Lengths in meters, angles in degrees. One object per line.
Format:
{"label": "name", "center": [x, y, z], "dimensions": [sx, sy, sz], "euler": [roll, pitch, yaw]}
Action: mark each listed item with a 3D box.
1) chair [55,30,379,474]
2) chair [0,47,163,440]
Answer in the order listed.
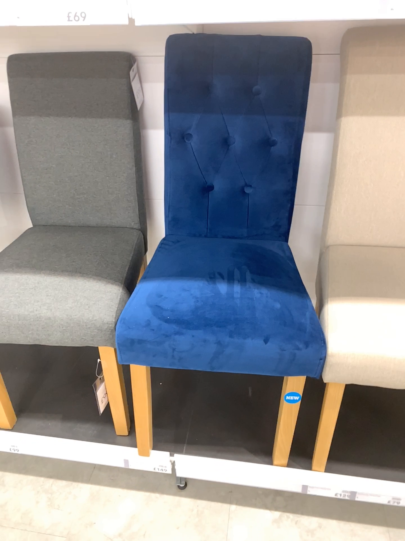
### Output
{"label": "chair", "center": [0.040, -0.036, 1.021], "dimensions": [0.433, 0.929, 0.524], "euler": [4, 34, 6]}
{"label": "chair", "center": [-0.384, -0.091, 1.151], "dimensions": [0.413, 0.890, 0.625], "euler": [2, 33, 3]}
